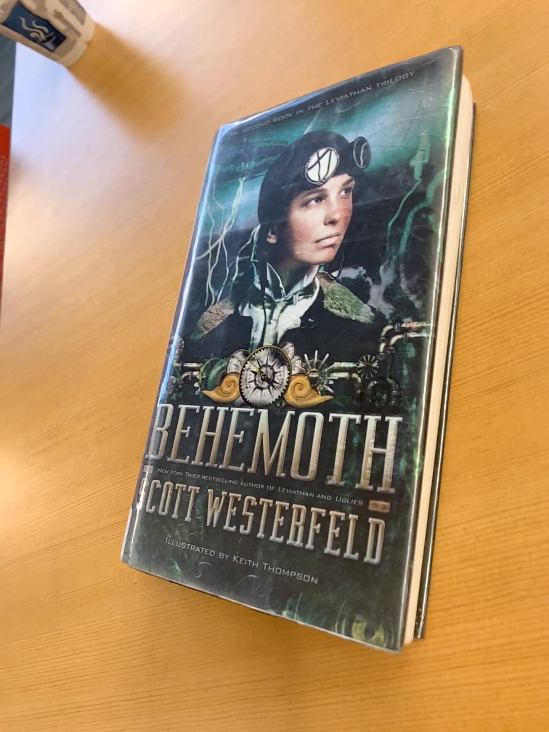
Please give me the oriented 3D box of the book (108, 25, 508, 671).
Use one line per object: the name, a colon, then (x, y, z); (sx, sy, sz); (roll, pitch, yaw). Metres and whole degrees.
book: (0.015, -0.014, 0.267); (0.151, 0.050, 0.241); (-1, 73, 39)
